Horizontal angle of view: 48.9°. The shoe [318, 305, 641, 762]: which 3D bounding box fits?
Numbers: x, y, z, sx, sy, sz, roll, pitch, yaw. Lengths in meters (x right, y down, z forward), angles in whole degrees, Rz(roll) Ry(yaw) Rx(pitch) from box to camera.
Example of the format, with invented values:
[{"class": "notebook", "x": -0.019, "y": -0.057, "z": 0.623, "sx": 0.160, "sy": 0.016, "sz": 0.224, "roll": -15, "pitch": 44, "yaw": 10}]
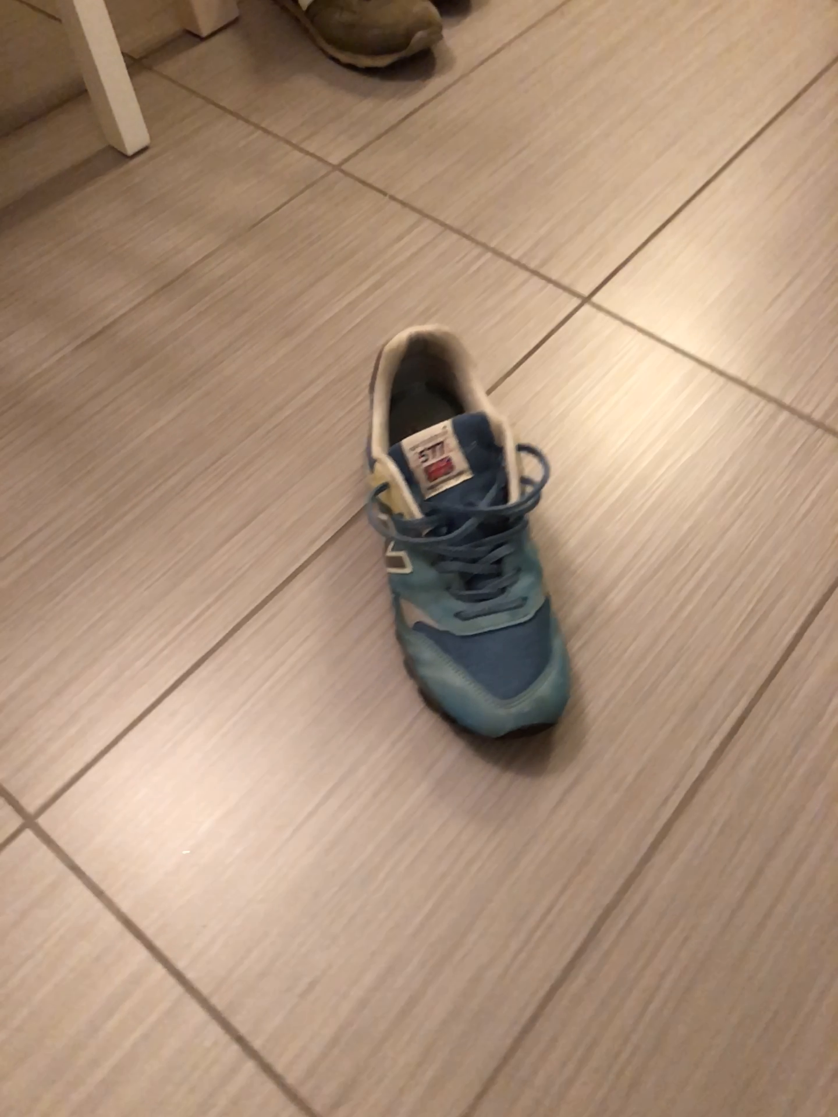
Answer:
[{"class": "shoe", "x": 0.027, "y": -0.031, "z": 0.619, "sx": 0.130, "sy": 0.070, "sz": 0.301, "roll": -12, "pitch": 58, "yaw": -6}]
